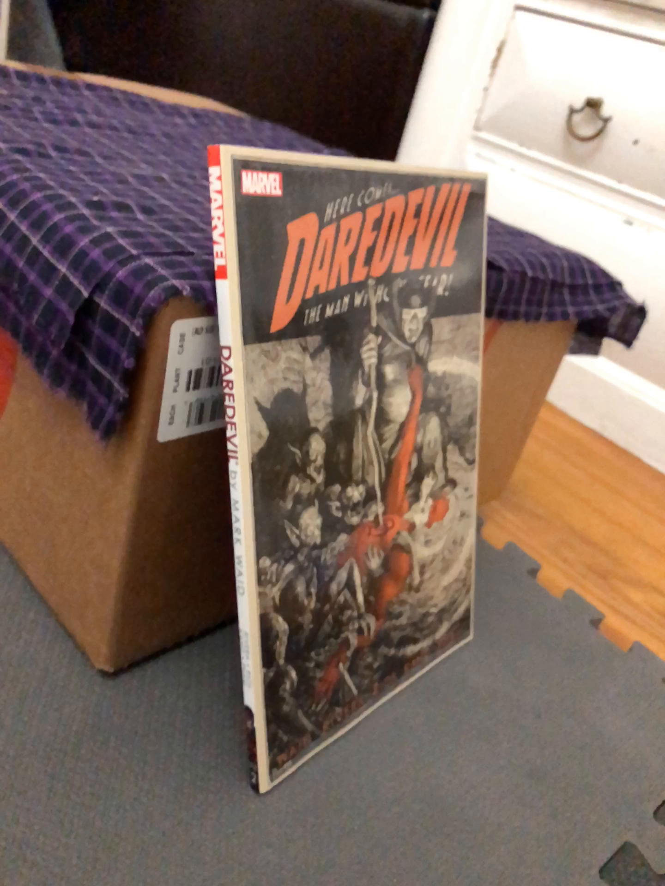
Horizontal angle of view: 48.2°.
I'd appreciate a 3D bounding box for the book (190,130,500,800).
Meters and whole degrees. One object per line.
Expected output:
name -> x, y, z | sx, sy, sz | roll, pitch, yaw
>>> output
book -> 0.018, 0.002, 0.310 | 0.020, 0.229, 0.161 | 11, 19, 39
